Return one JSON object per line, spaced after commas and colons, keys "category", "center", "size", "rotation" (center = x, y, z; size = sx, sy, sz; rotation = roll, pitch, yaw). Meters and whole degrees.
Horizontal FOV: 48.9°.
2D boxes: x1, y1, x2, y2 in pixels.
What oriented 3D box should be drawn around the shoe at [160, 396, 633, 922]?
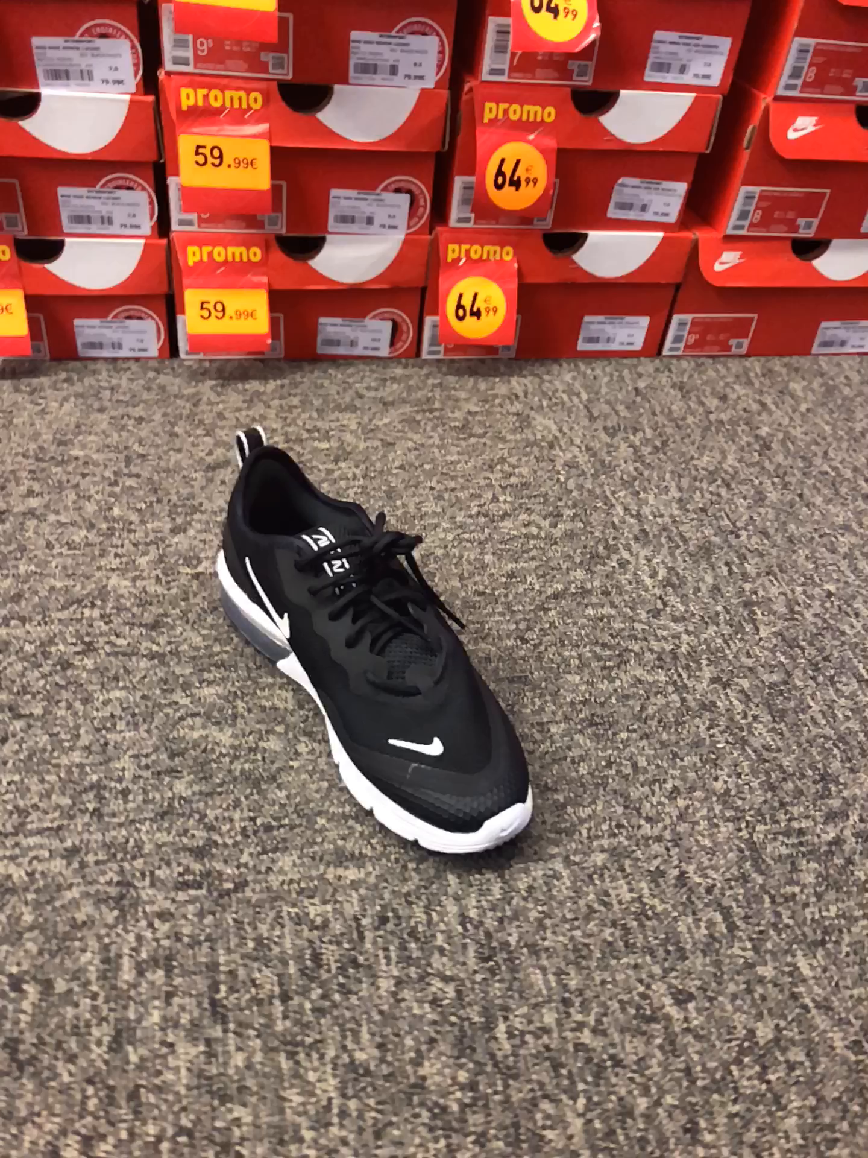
{"category": "shoe", "center": [-0.035, 0.027, 0.503], "size": [0.100, 0.109, 0.256], "rotation": [-24, 52, -31]}
